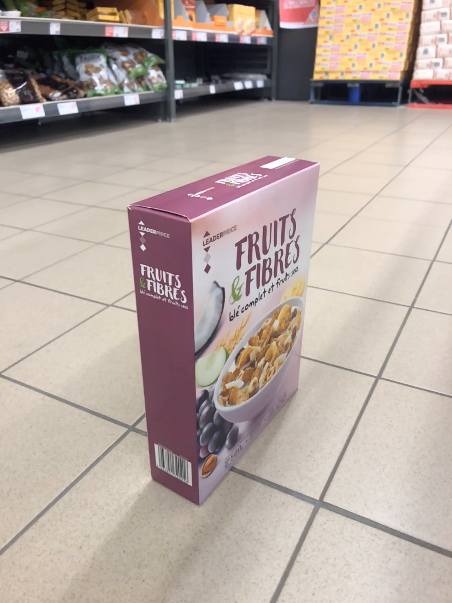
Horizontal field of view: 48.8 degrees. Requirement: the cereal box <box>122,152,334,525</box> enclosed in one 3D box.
[{"bbox_3d":[0.017,0.018,0.443,0.060,0.259,0.211,15,30,30],"label":"cereal box"}]
